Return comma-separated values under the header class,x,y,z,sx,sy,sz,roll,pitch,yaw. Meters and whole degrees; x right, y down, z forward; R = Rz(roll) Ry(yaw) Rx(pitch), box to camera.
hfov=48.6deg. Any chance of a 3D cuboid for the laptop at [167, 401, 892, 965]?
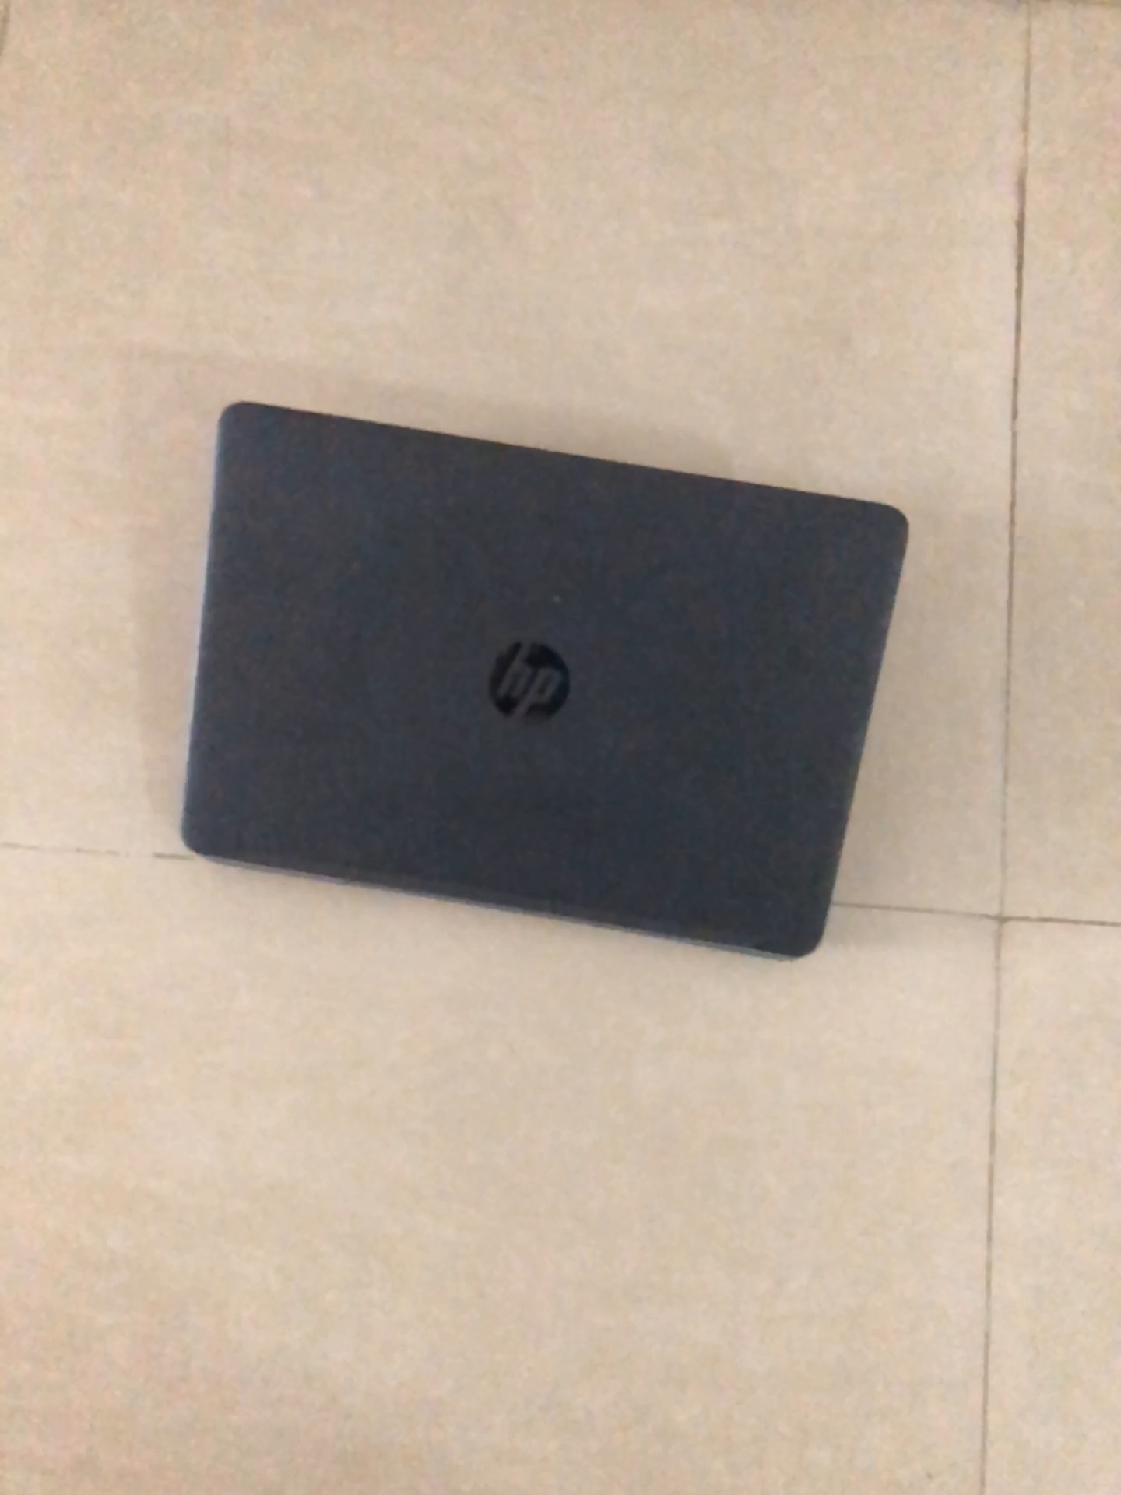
class,x,y,z,sx,sy,sz,roll,pitch,yaw
laptop,-0.013,-0.027,0.618,0.304,0.085,0.214,10,87,1
